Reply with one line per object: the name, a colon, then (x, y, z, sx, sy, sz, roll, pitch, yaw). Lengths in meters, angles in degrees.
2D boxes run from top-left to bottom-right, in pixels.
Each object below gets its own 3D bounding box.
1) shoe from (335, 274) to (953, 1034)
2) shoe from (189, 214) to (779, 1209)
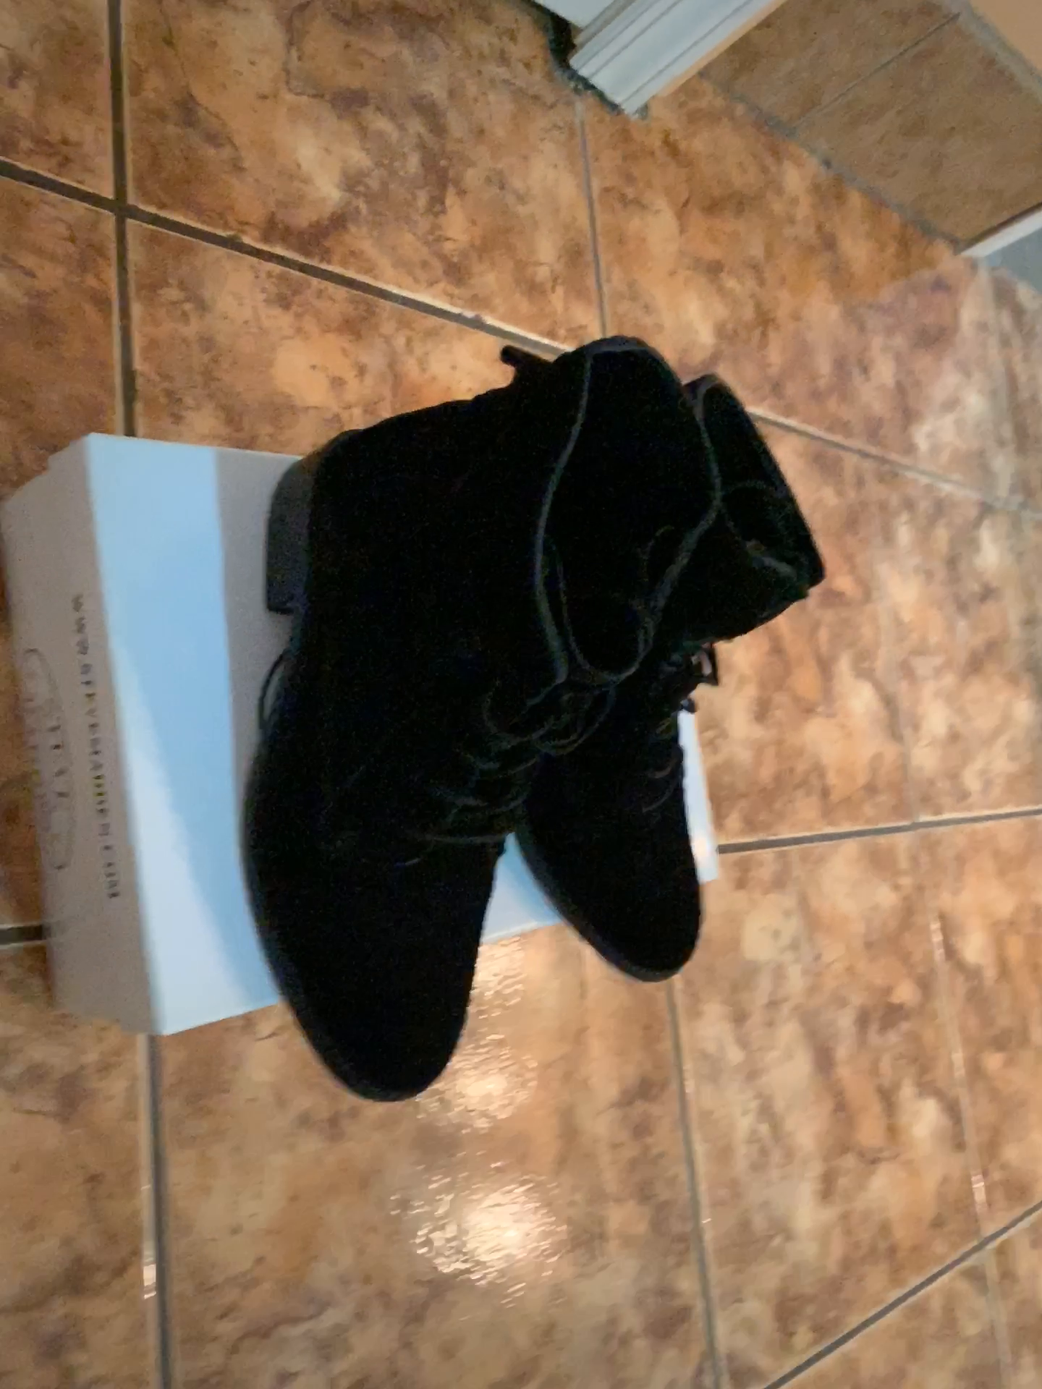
shoe: (0.049, -0.012, 0.443, 0.108, 0.141, 0.267, -23, 95, -43)
shoe: (-0.024, 0.010, 0.358, 0.094, 0.152, 0.257, 0, 79, -42)
